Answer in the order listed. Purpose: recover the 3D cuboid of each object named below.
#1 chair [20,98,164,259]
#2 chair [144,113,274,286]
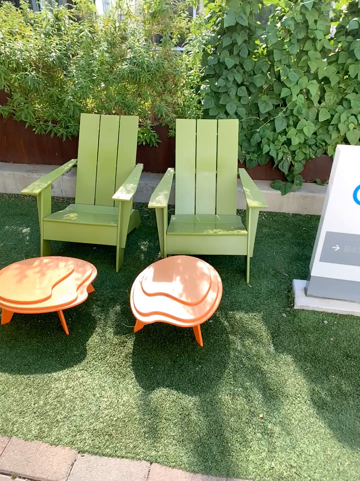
[{"bbox_3d":[-0.607,-0.506,2.834,0.771,1.006,0.823,6,16,8],"label":"chair"},{"bbox_3d":[0.201,-0.337,2.597,0.730,1.016,0.823,3,15,7],"label":"chair"}]
